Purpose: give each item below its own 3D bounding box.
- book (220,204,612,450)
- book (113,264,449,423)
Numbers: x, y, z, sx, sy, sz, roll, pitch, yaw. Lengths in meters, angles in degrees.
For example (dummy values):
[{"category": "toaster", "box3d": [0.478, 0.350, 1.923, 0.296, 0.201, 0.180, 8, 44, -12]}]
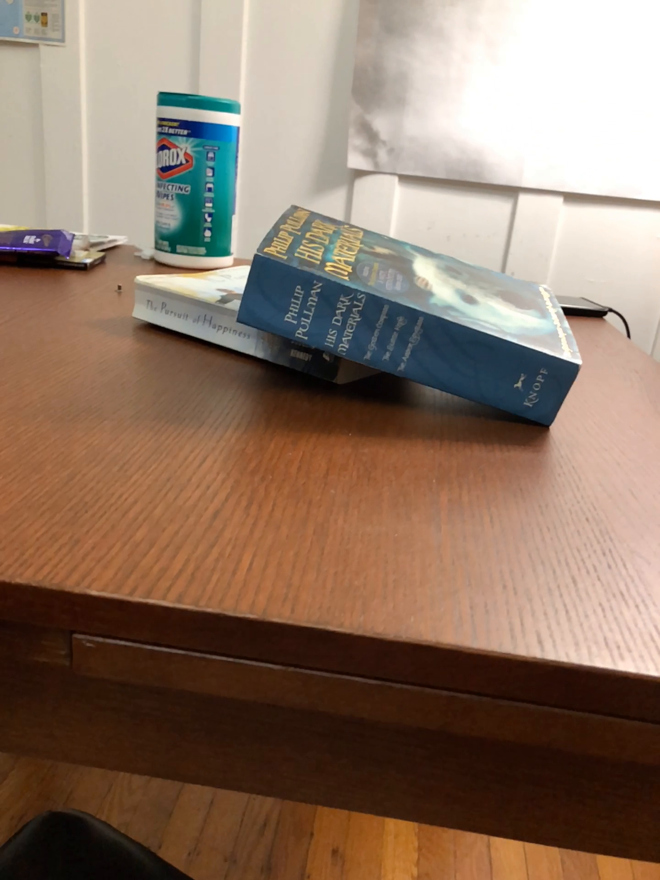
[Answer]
[{"category": "book", "box3d": [0.059, -0.093, 0.536, 0.240, 0.060, 0.171, 18, 25, -5]}, {"category": "book", "box3d": [-0.045, -0.098, 0.641, 0.240, 0.040, 0.171, 24, 33, 32]}]
